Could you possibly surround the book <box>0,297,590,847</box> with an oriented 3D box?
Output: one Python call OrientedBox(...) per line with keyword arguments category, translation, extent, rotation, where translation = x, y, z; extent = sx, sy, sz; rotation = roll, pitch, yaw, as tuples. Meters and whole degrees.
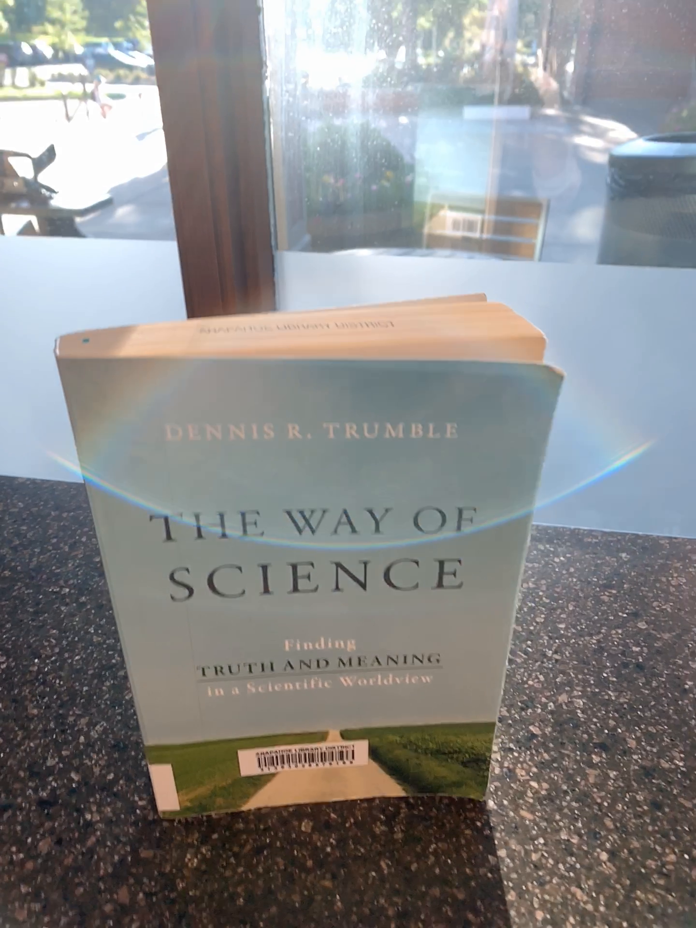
OrientedBox(category="book", translation=(-0.015, 0.053, 0.273), extent=(0.167, 0.219, 0.040), rotation=(-3, 30, -4))
